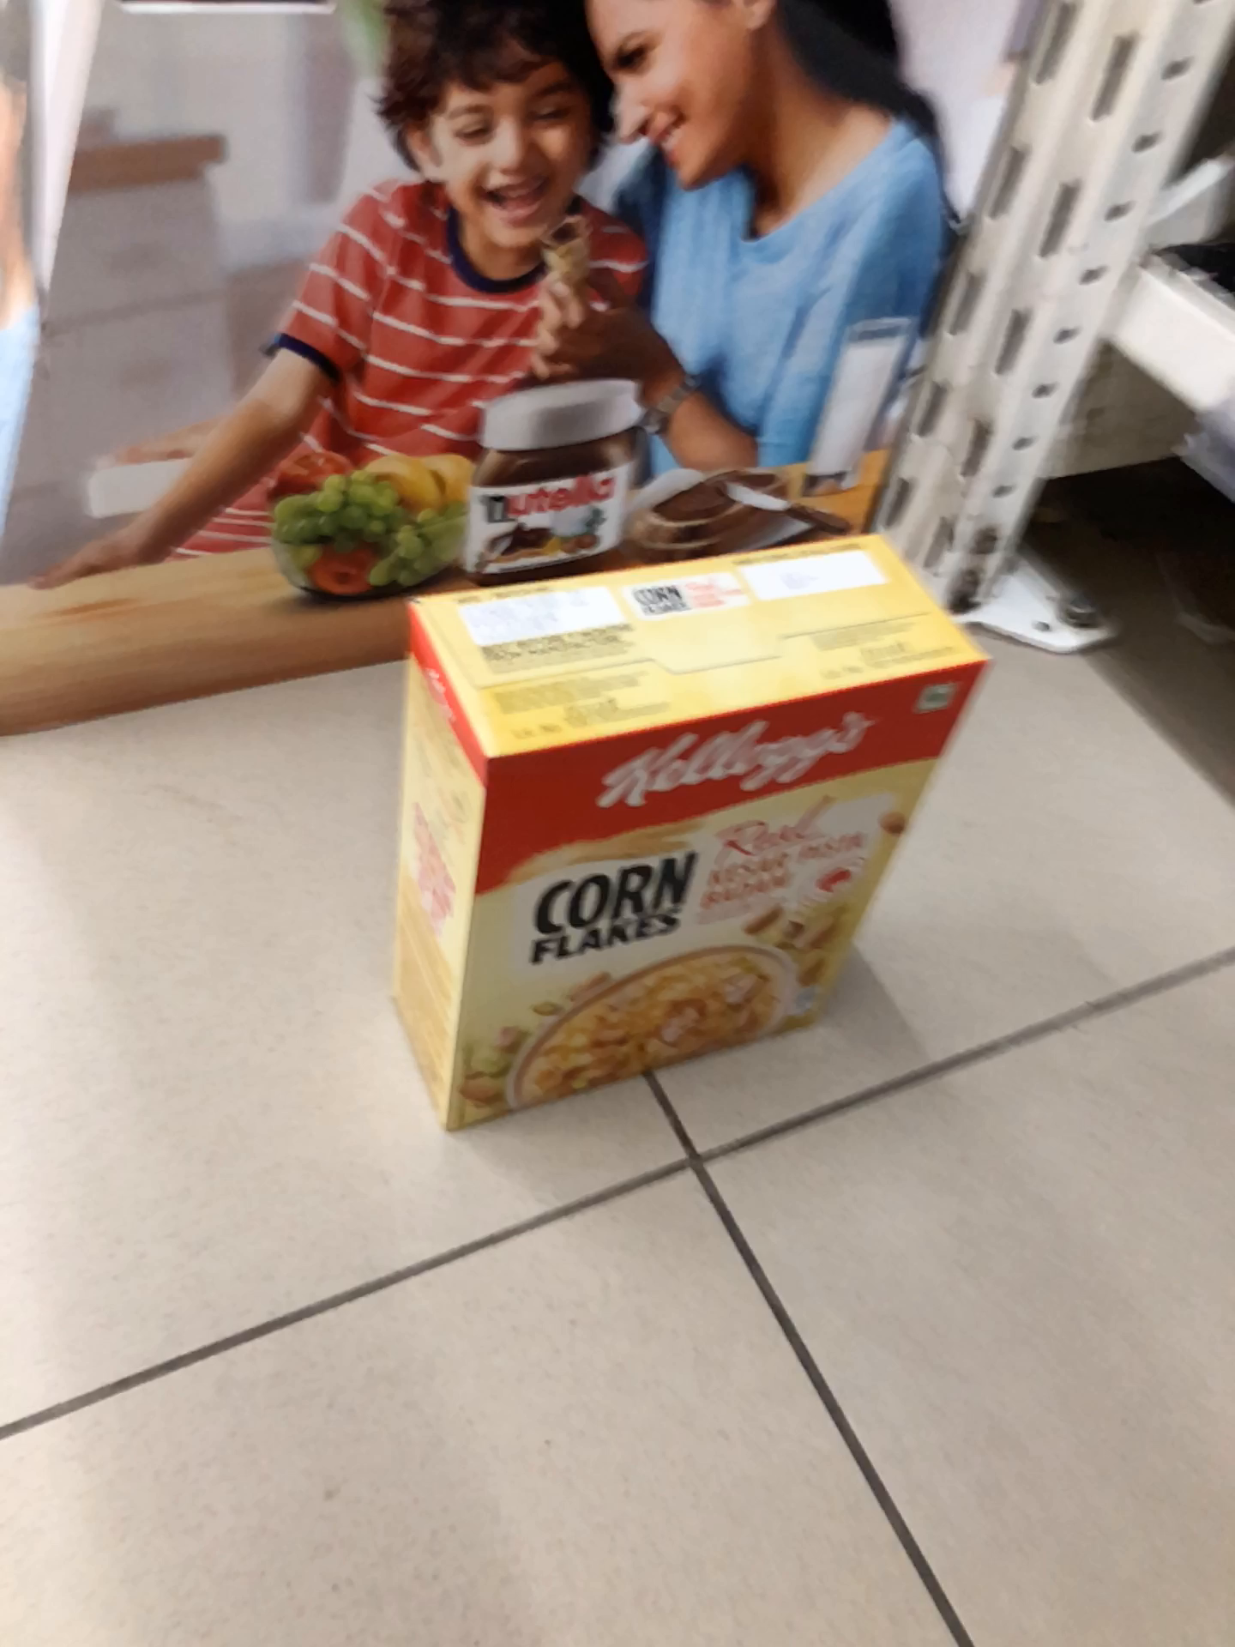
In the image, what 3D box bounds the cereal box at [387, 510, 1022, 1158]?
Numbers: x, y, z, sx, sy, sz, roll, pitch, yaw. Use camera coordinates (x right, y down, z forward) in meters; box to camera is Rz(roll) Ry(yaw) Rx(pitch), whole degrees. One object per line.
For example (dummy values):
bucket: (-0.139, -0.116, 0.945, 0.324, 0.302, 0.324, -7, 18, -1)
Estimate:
cereal box: (0.014, 0.007, 0.393, 0.140, 0.169, 0.060, -14, 52, -24)
